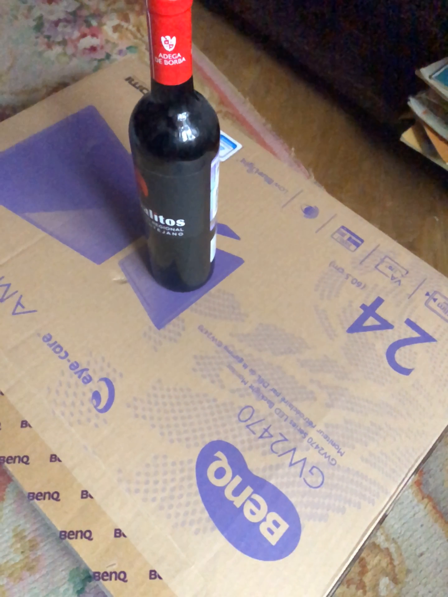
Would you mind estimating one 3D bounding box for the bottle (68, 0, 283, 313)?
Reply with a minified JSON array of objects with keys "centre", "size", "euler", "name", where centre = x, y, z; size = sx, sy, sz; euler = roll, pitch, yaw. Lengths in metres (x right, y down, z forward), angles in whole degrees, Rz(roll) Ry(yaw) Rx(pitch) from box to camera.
[{"centre":[-0.040,-0.114,0.426],"size":[0.090,0.299,0.090],"euler":[2,60,-4],"name":"bottle"}]
